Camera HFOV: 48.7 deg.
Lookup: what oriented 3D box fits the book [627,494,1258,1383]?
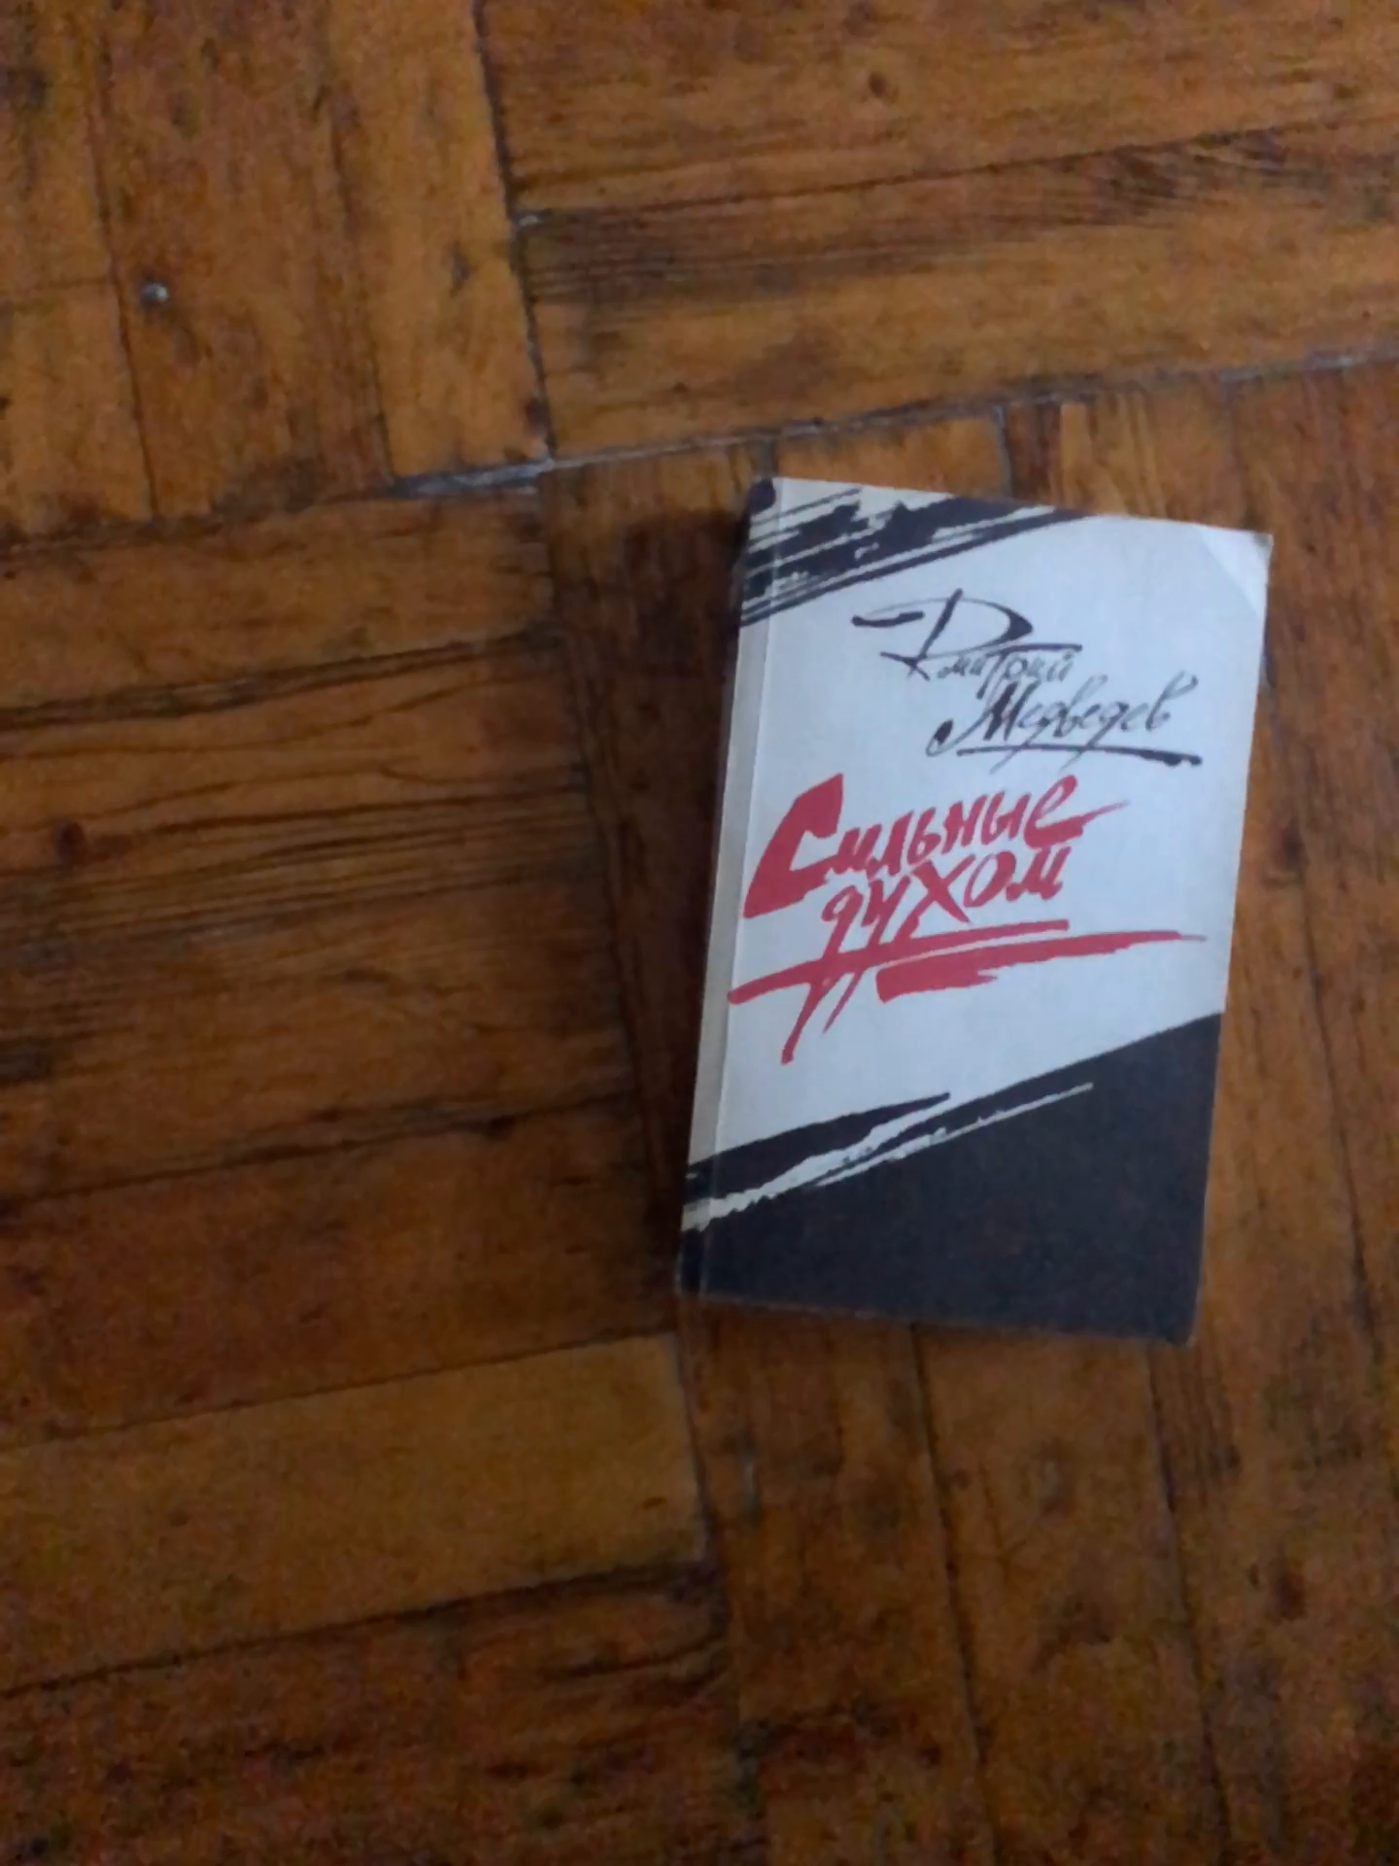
[{"bbox_3d":[0.061,0.003,0.410,0.140,0.050,0.210,5,90,-4],"label":"book"}]
